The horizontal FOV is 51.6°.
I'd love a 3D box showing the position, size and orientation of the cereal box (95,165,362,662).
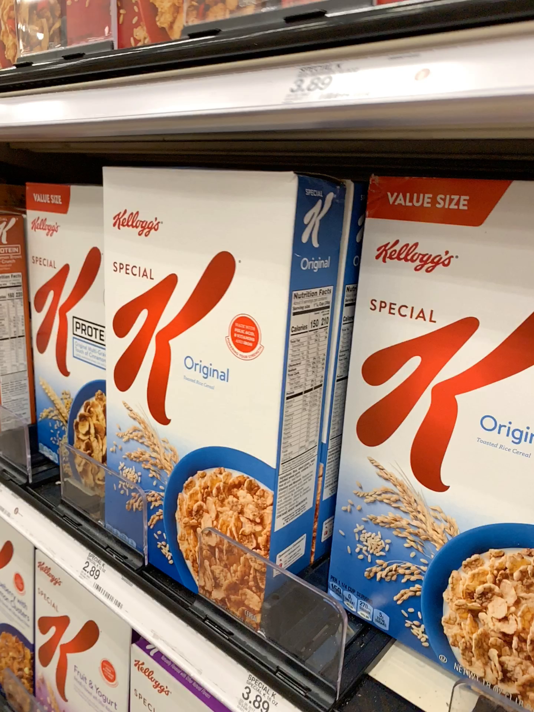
[{"bbox_3d":[-0.047,0.029,0.417,0.190,0.319,0.060,16,18,36],"label":"cereal box"}]
